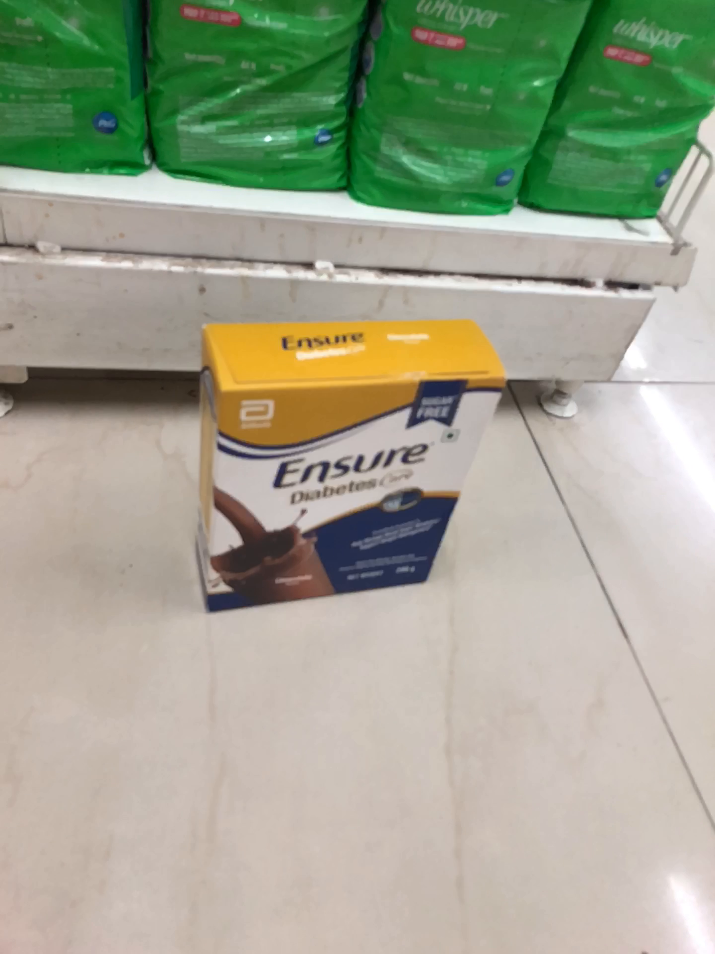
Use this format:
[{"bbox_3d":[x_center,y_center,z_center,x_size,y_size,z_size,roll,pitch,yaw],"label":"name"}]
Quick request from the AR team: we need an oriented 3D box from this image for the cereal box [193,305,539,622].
[{"bbox_3d":[-0.008,-0.002,0.397,0.140,0.169,0.050,-4,49,-17],"label":"cereal box"}]
